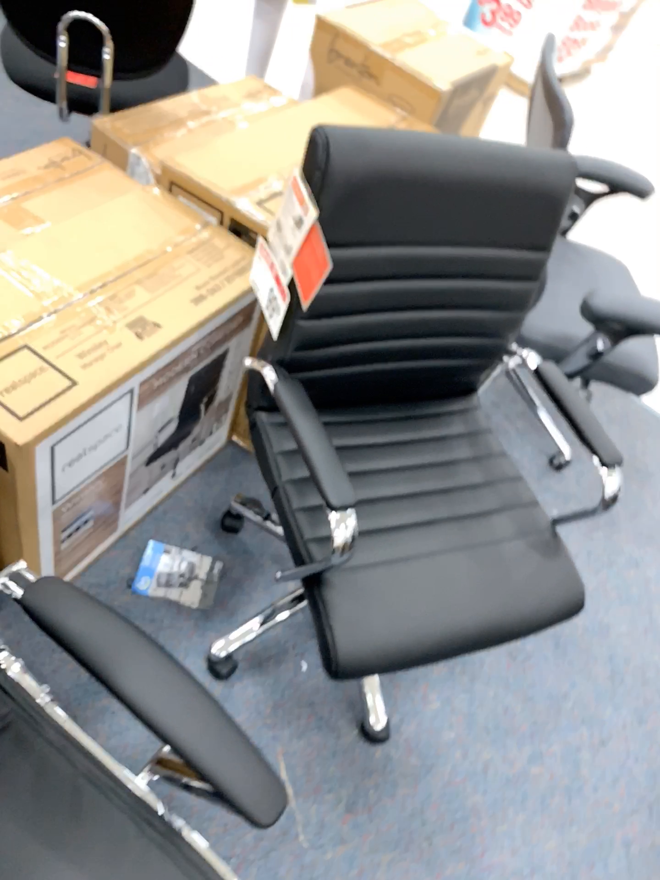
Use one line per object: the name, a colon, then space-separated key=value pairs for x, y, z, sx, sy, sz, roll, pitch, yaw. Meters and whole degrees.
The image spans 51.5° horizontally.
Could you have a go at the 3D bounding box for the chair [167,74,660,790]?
chair: x=0.160 y=0.059 z=1.184 sx=0.655 sy=0.954 sz=0.651 roll=-5 pitch=55 yaw=-25

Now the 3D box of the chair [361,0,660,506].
chair: x=0.602 y=-0.452 z=1.824 sx=0.719 sy=0.874 sz=0.737 roll=17 pitch=49 yaw=-8
